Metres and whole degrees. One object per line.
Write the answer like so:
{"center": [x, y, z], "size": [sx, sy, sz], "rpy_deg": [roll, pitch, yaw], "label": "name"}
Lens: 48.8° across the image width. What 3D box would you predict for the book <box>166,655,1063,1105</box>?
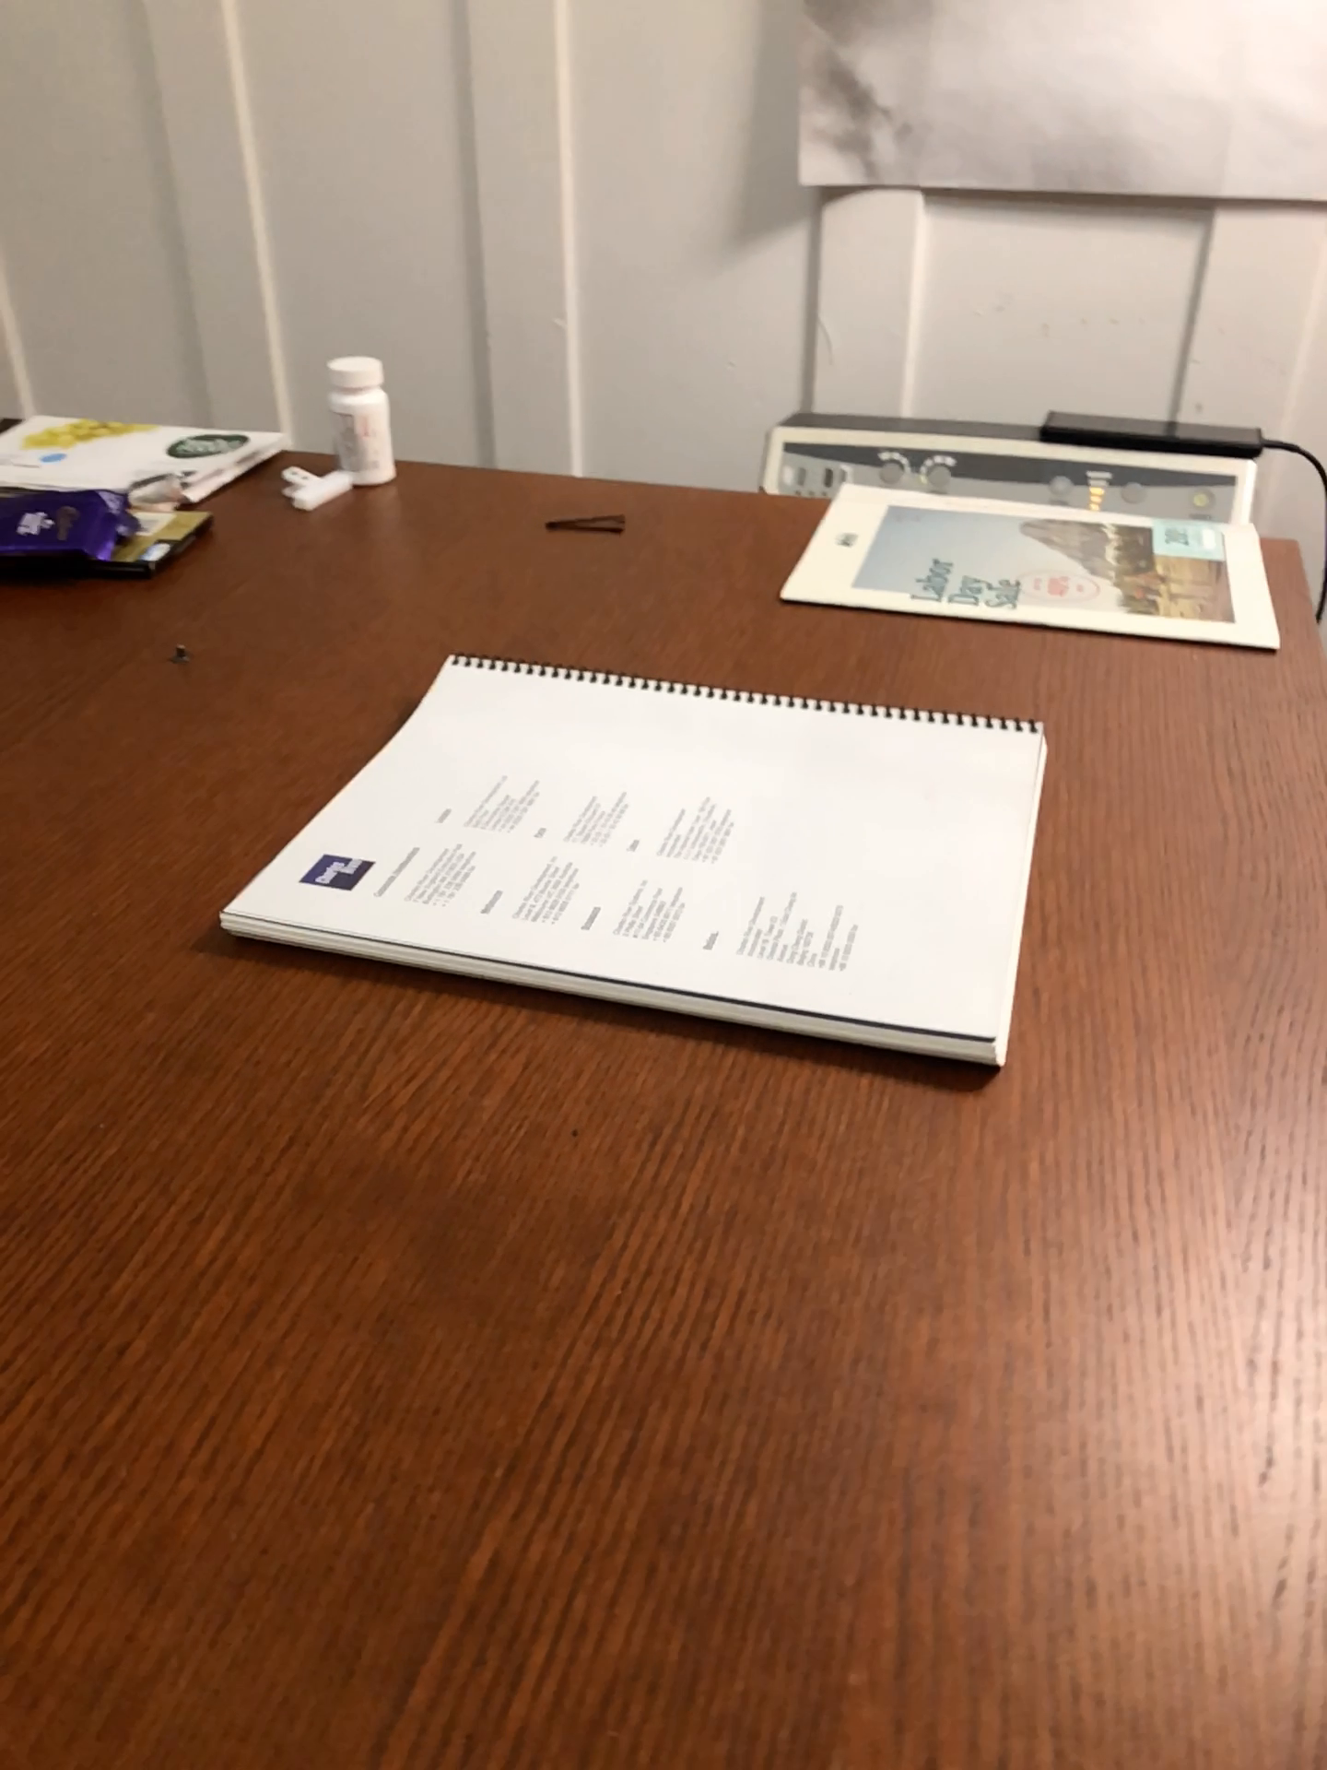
{"center": [-0.001, -0.021, 0.581], "size": [0.300, 0.020, 0.231], "rpy_deg": [8, 33, 13], "label": "book"}
